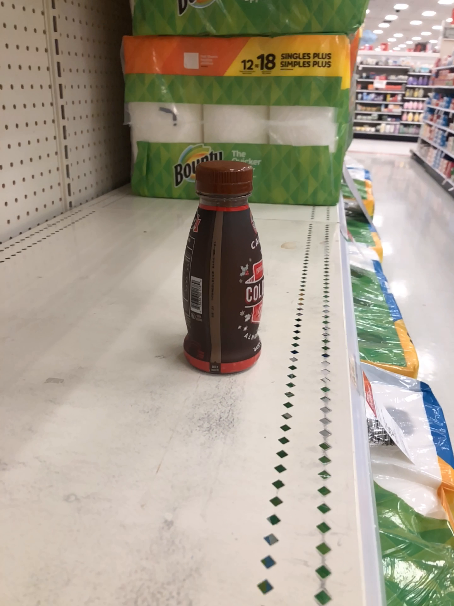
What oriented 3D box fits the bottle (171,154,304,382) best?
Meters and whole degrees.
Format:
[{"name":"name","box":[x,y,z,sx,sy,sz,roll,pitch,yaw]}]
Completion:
[{"name":"bottle","box":[0.008,-0.029,0.380,0.080,0.149,0.070,7,24,11]}]
